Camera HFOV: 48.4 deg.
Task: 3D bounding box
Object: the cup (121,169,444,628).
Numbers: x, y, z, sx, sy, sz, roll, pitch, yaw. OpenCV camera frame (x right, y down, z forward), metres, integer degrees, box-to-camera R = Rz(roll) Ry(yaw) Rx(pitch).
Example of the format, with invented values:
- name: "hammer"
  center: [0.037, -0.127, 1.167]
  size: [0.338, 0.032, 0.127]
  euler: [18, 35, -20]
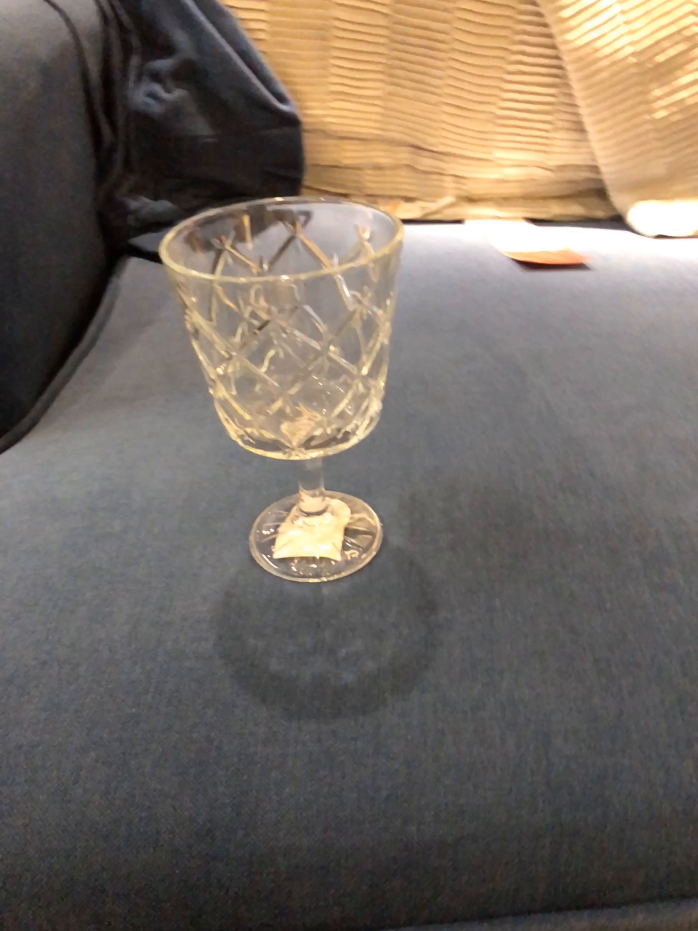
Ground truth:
- name: "cup"
  center: [-0.025, -0.028, 0.308]
  size: [0.090, 0.139, 0.090]
  euler: [-2, 36, 1]
